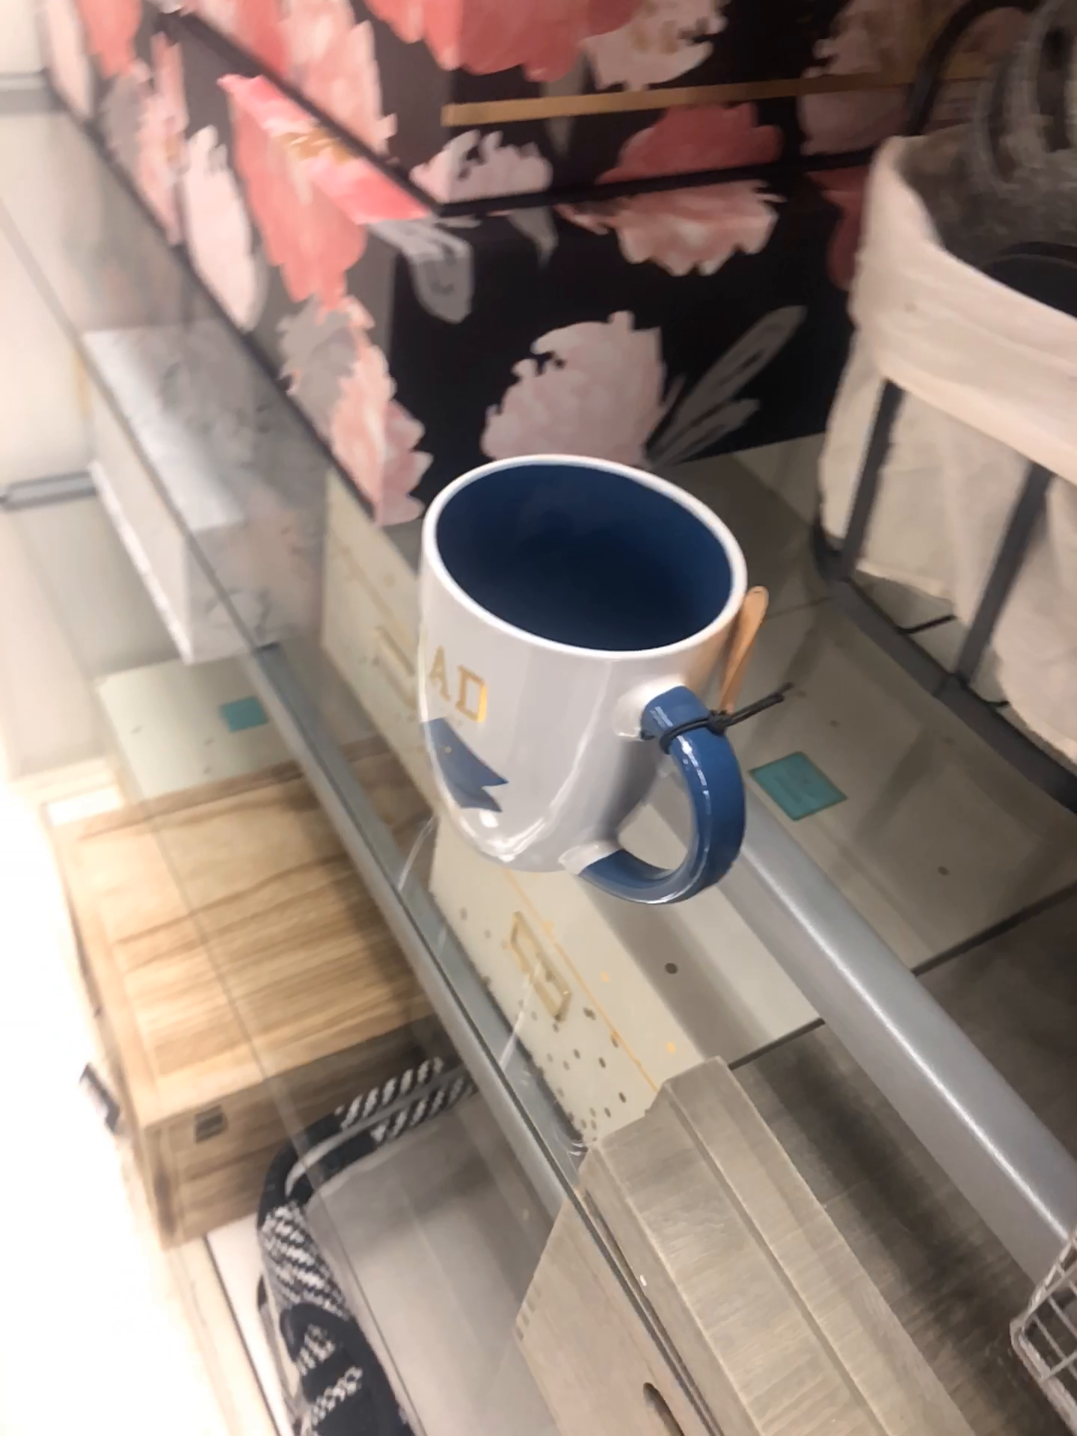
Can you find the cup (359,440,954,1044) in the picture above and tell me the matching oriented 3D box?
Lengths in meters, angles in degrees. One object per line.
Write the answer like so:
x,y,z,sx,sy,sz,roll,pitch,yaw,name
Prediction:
0.025,-0.001,0.389,0.116,0.096,0.150,-15,49,-25,cup
